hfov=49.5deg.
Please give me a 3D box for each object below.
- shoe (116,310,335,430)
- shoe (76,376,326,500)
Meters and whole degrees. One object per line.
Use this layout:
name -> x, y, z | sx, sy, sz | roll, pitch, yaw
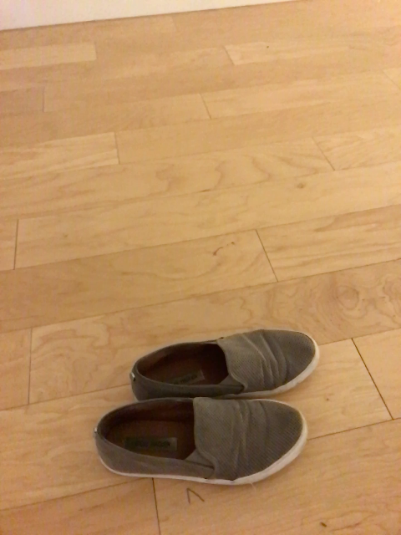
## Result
shoe -> 0.028, 0.140, 0.609 | 0.280, 0.050, 0.111 | -8, 50, -5
shoe -> -0.001, 0.210, 0.545 | 0.280, 0.050, 0.121 | -3, 50, -1
